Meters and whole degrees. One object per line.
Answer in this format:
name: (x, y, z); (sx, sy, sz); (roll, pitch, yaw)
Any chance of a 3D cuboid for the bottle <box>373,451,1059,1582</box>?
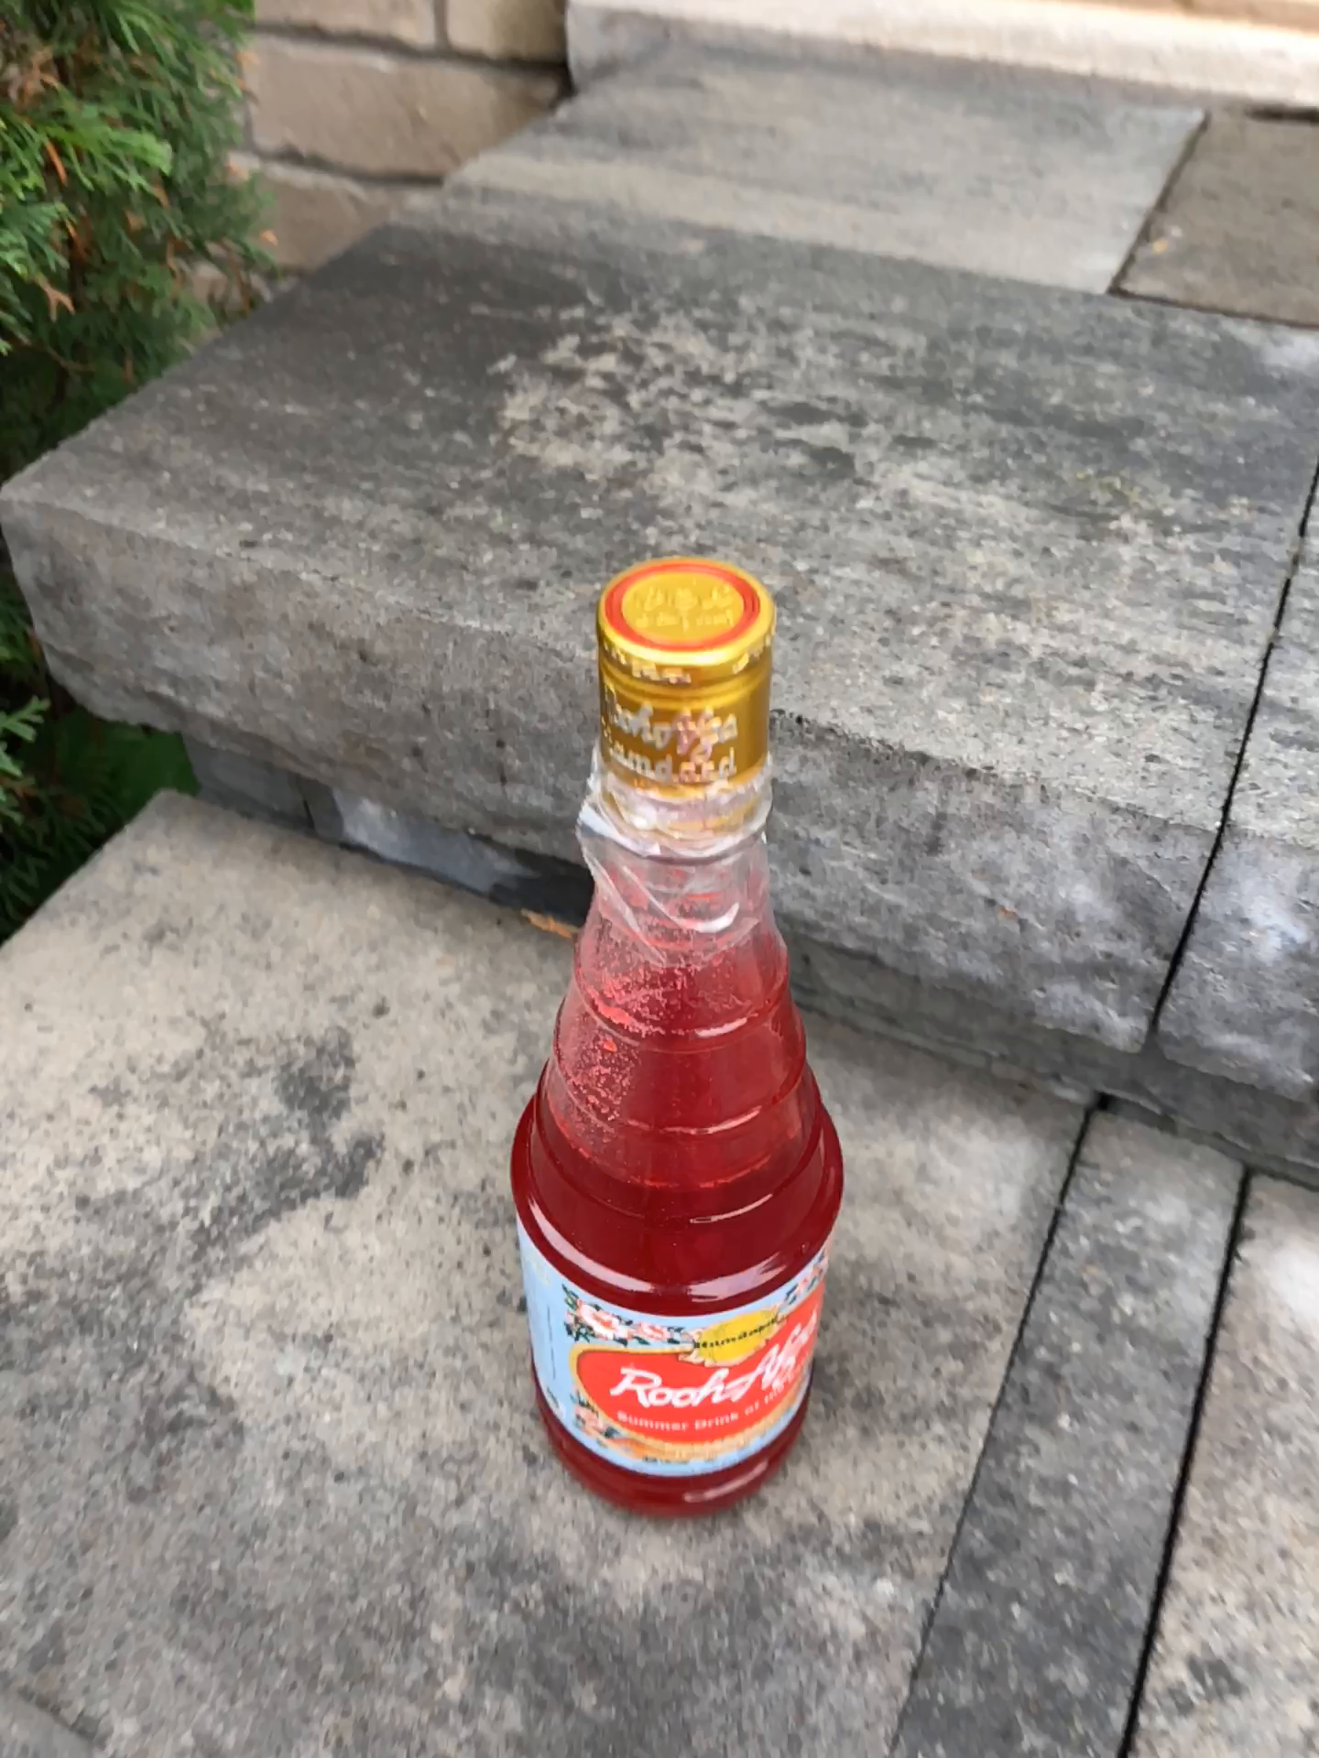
bottle: (0.005, 0.055, 0.335); (0.090, 0.279, 0.080); (-12, 46, -11)
